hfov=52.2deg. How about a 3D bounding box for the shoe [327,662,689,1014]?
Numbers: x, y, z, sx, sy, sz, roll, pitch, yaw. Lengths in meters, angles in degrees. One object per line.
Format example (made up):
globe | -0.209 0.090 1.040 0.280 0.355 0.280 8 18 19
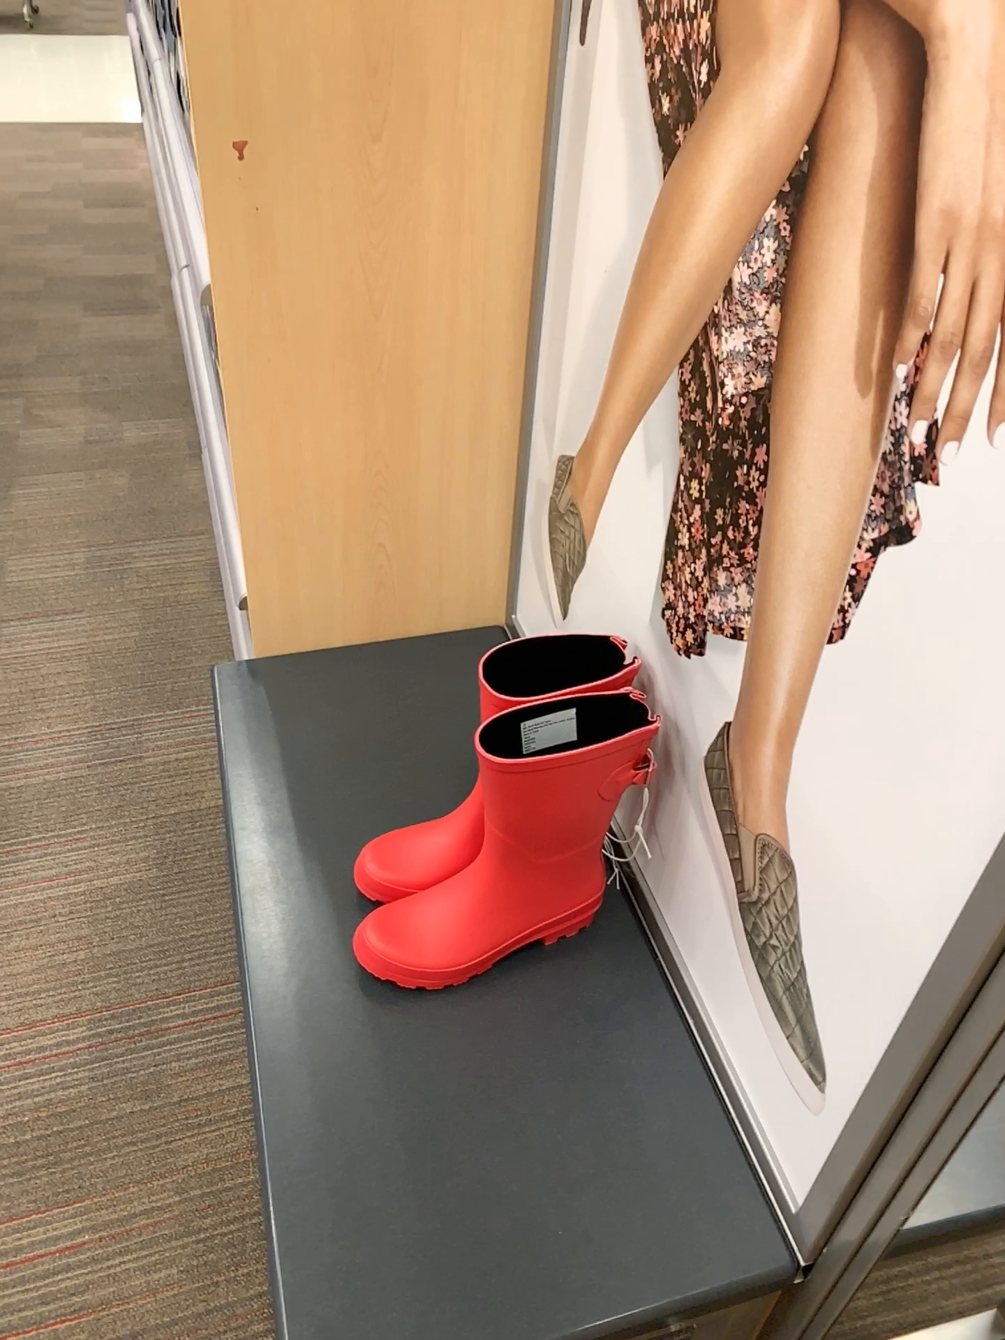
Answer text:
shoe | -0.003 0.147 0.897 0.270 0.249 0.107 -11 42 -19

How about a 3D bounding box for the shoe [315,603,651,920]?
shoe | -0.025 0.086 0.960 0.270 0.249 0.107 -9 41 -16
